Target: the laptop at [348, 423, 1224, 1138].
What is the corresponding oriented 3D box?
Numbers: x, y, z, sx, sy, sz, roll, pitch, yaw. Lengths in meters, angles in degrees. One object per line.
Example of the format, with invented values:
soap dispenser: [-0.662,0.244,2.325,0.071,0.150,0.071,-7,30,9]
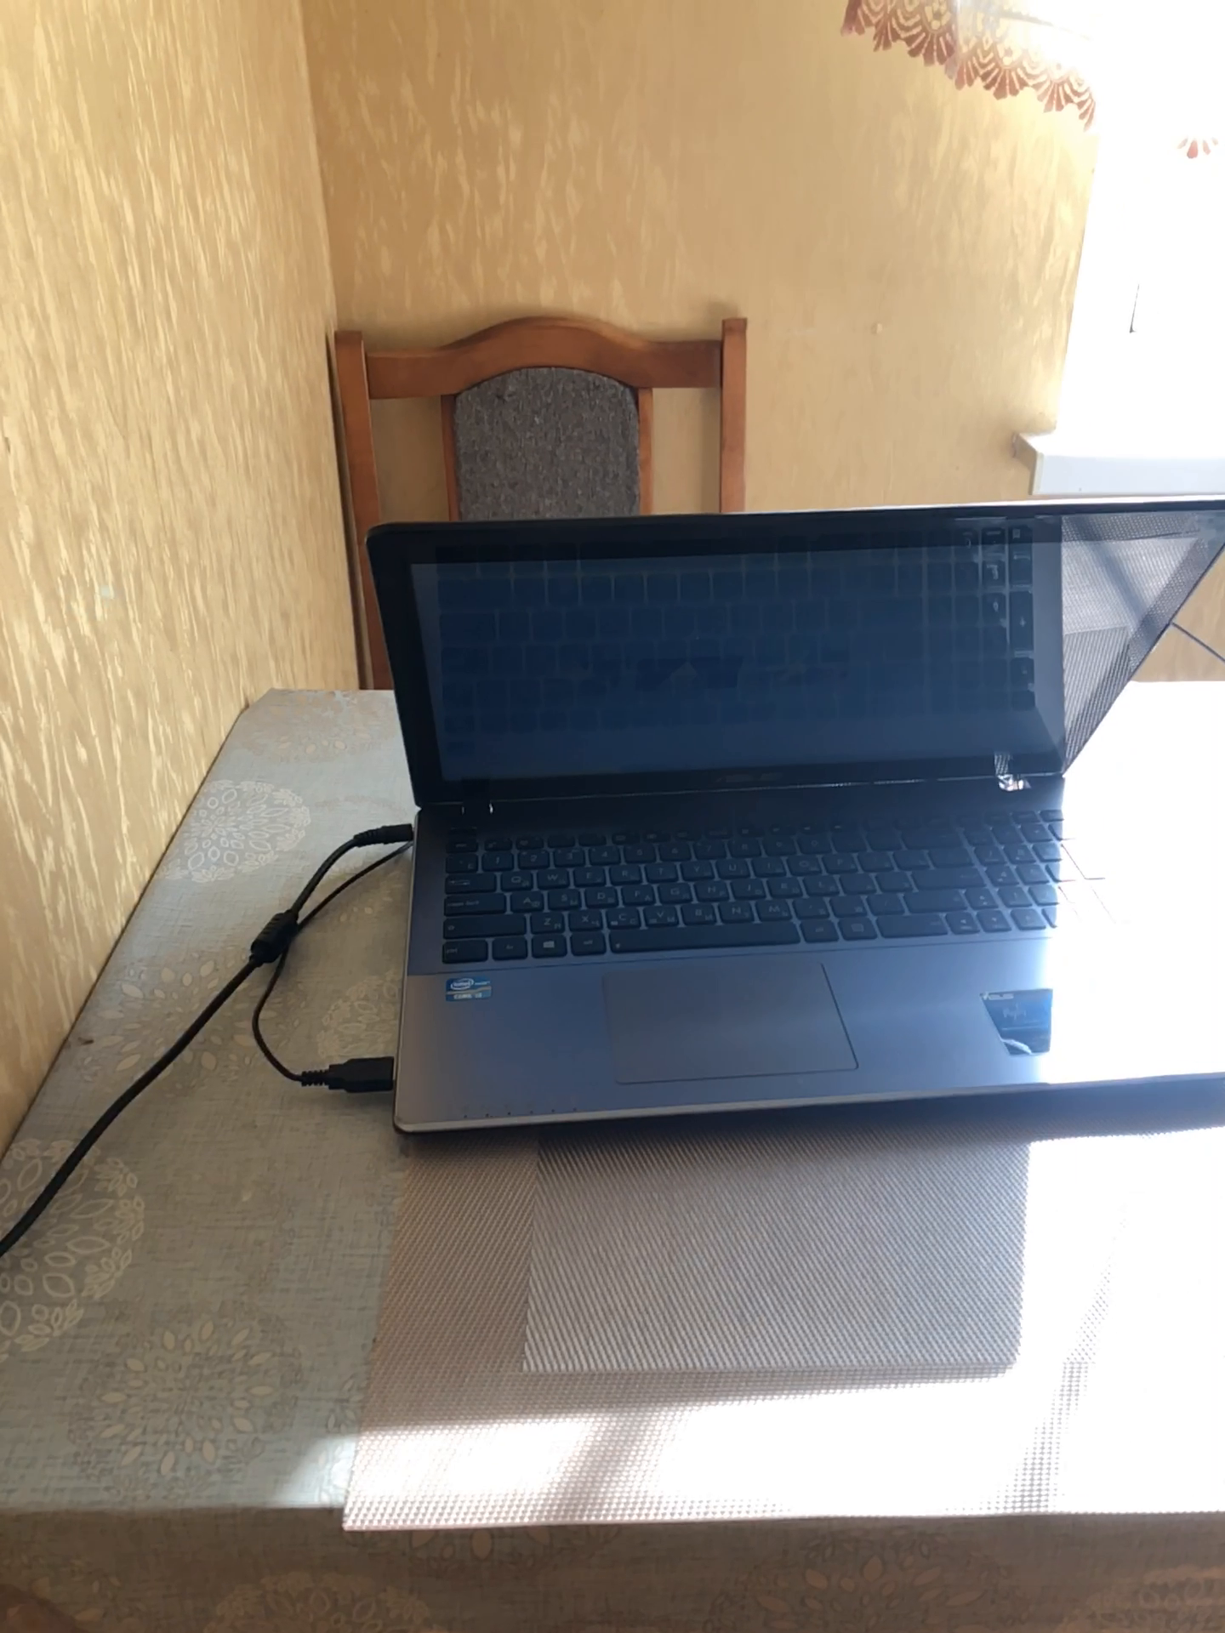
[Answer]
laptop: [0.086,-0.035,0.601,0.364,0.197,0.241,-3,32,-5]
